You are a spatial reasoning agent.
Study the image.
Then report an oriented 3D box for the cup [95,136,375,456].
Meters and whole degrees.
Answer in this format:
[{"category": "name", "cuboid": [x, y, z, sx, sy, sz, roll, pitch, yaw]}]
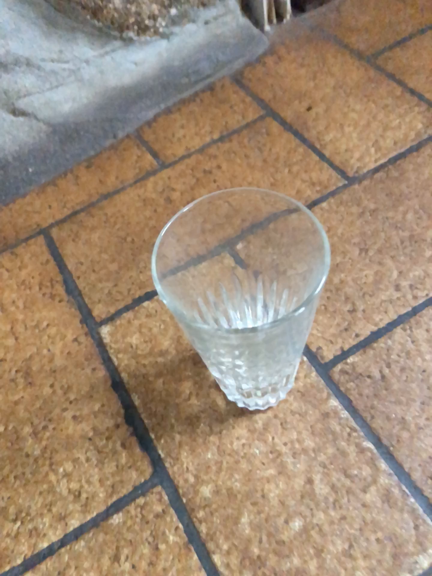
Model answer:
[{"category": "cup", "cuboid": [0.013, 0.012, 0.220, 0.070, 0.119, 0.070, -4, 58, 6]}]
